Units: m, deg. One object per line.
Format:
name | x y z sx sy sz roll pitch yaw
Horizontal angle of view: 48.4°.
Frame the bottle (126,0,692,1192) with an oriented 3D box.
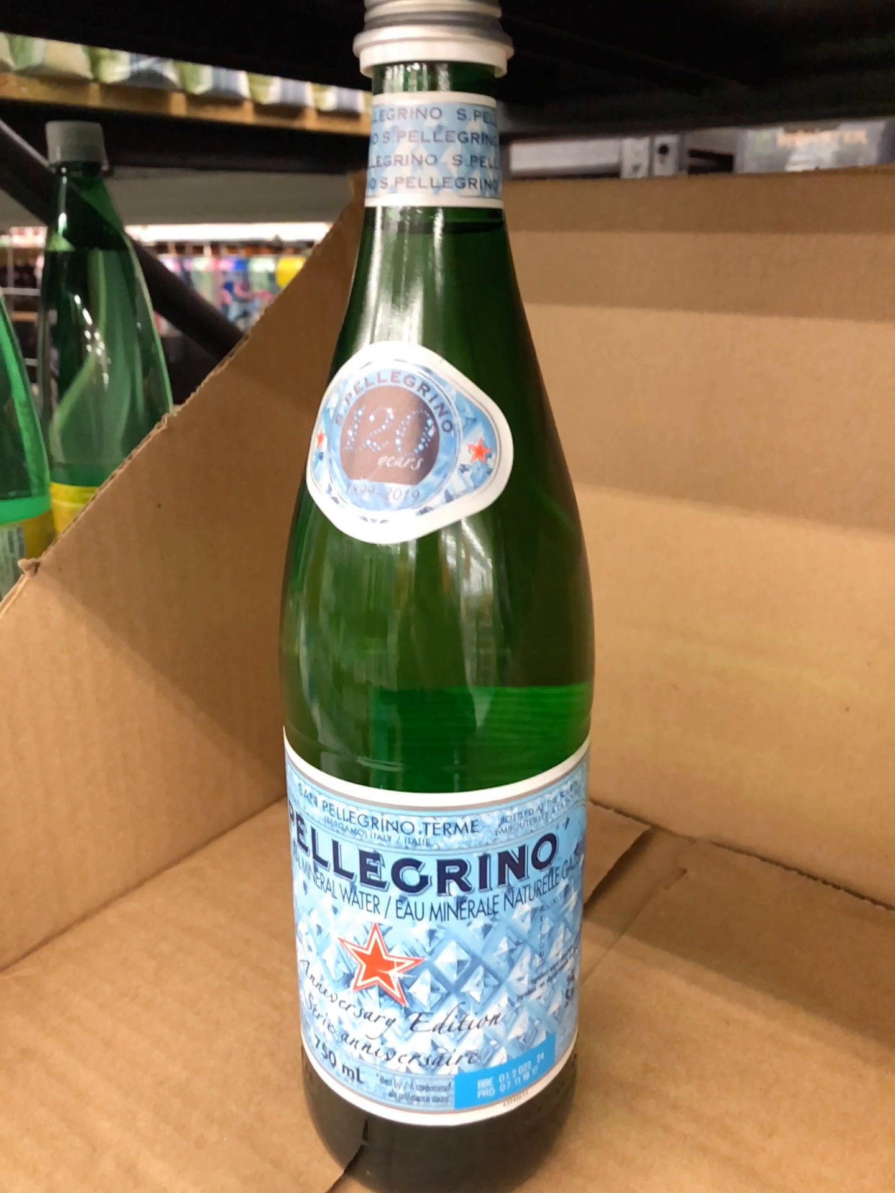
bottle | -0.005 0.013 0.232 0.080 0.278 0.070 13 23 33
